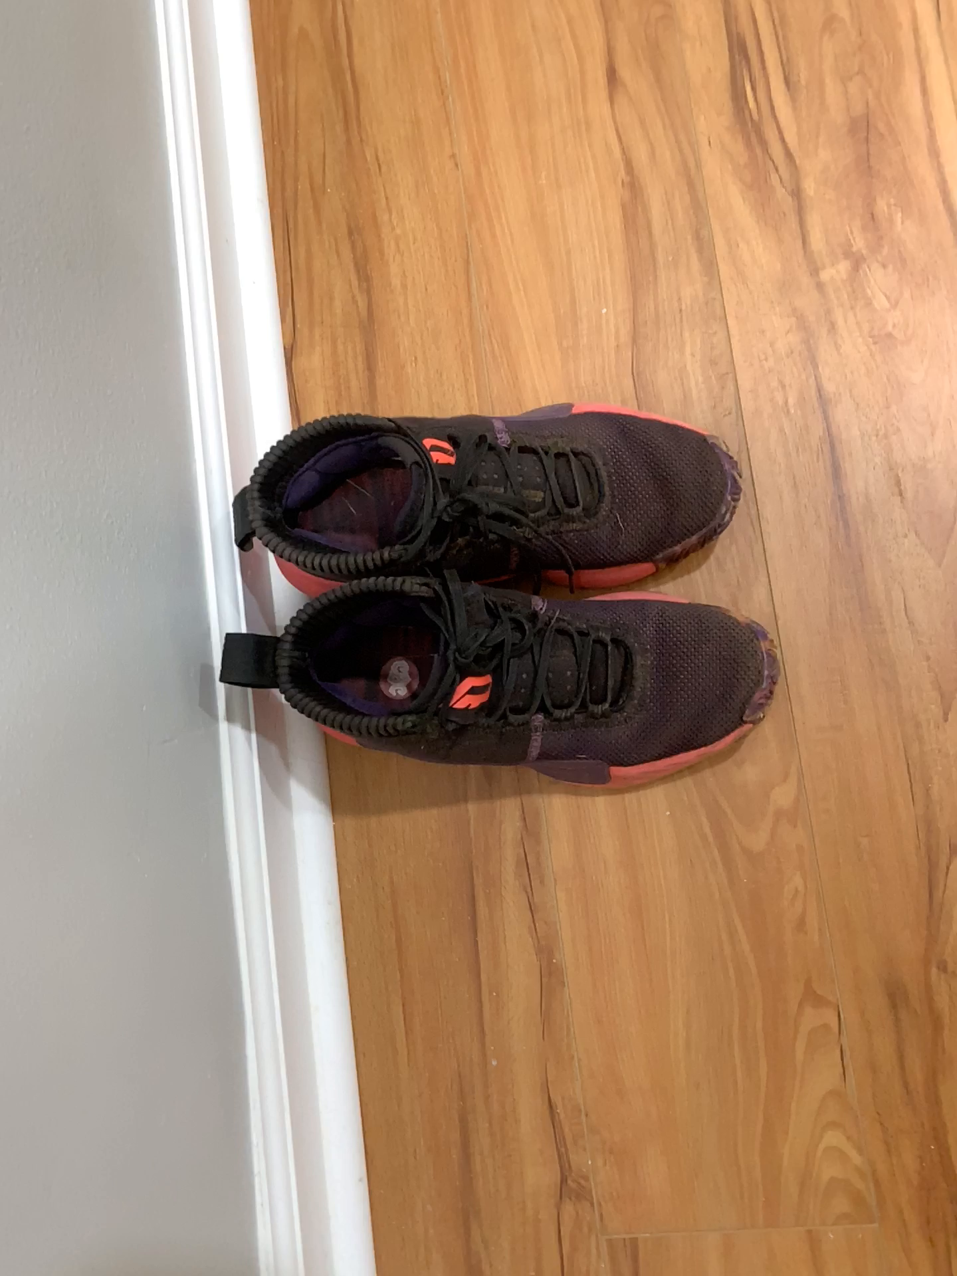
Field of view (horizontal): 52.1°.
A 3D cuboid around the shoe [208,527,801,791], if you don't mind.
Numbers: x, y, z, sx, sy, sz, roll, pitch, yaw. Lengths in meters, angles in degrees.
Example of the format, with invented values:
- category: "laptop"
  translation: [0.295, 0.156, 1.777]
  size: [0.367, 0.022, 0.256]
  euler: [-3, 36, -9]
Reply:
- category: "shoe"
  translation: [0.017, 0.020, 0.534]
  size: [0.285, 0.132, 0.119]
  euler: [-2, 83, 12]

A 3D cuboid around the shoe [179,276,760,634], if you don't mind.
- category: "shoe"
  translation: [-0.001, -0.088, 0.552]
  size: [0.285, 0.132, 0.120]
  euler: [-8, 82, 11]
